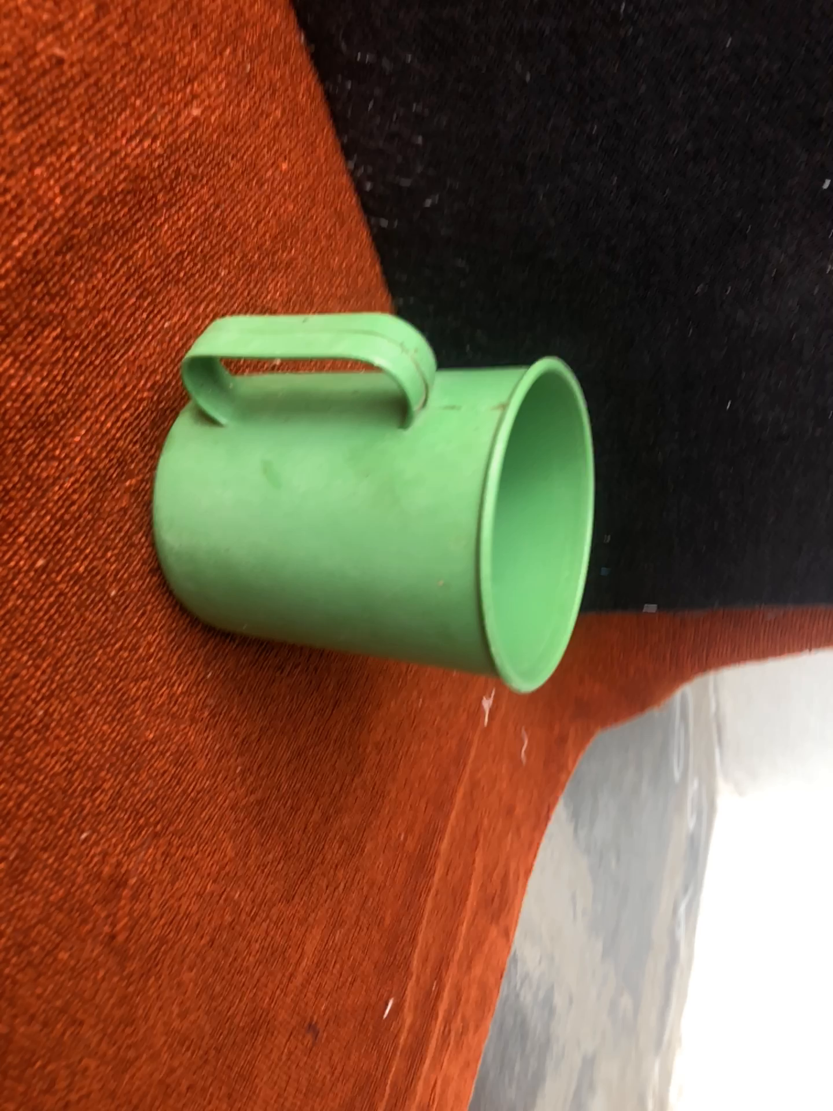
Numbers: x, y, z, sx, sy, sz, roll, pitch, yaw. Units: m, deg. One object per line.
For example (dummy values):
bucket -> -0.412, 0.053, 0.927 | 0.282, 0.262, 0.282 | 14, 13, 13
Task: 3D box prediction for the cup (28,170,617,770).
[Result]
cup -> -0.008, -0.016, 0.211 | 0.101, 0.079, 0.080 | 65, 38, -50
